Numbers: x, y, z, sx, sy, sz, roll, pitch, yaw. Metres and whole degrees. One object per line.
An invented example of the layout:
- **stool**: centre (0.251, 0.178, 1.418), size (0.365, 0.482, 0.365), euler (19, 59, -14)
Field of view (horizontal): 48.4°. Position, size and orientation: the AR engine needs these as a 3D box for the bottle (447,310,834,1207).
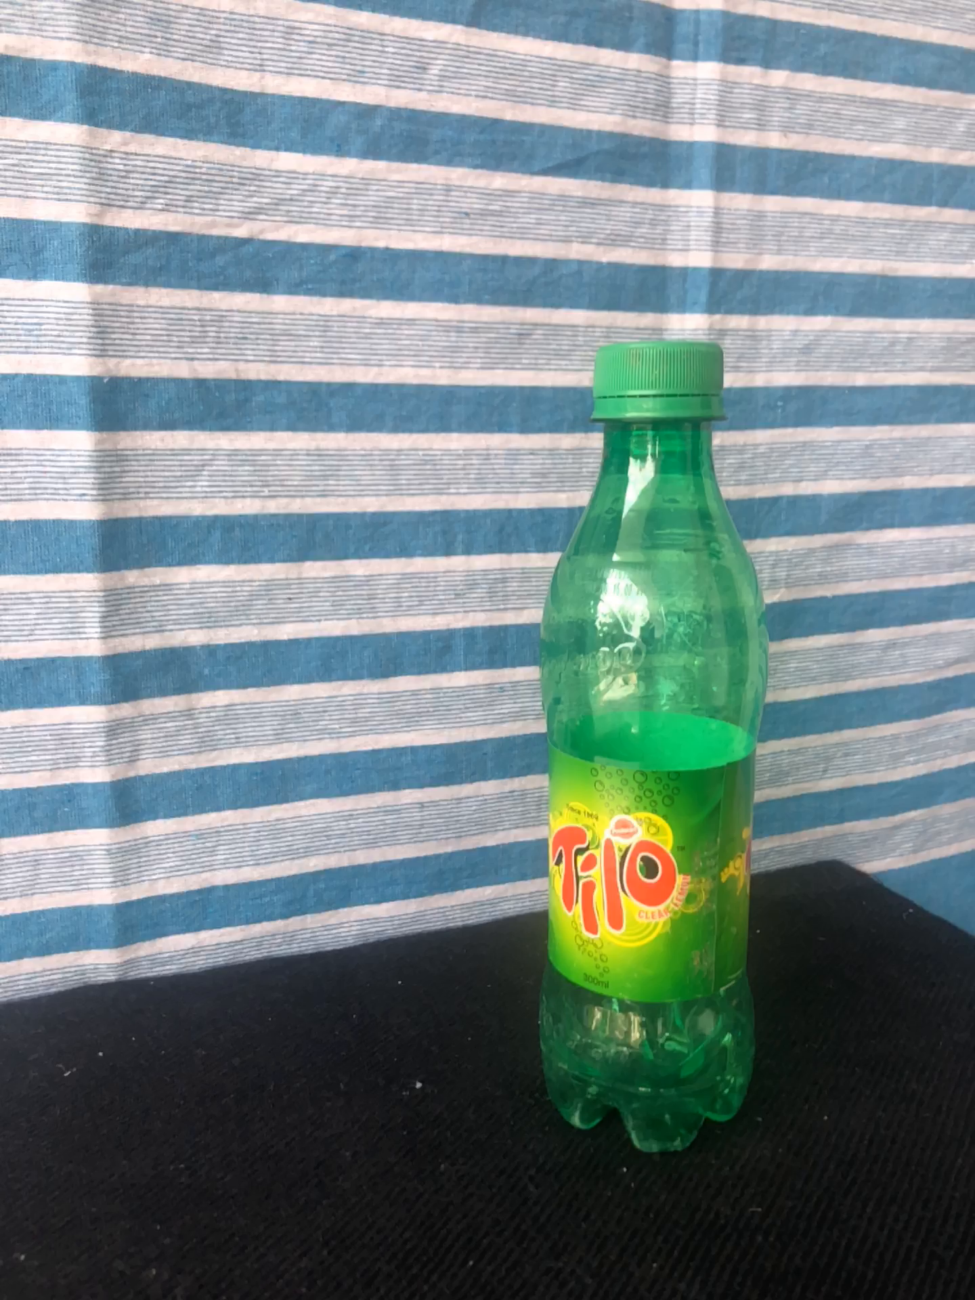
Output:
- **bottle**: centre (0.039, 0.022, 0.277), size (0.070, 0.199, 0.070), euler (3, 11, -1)
